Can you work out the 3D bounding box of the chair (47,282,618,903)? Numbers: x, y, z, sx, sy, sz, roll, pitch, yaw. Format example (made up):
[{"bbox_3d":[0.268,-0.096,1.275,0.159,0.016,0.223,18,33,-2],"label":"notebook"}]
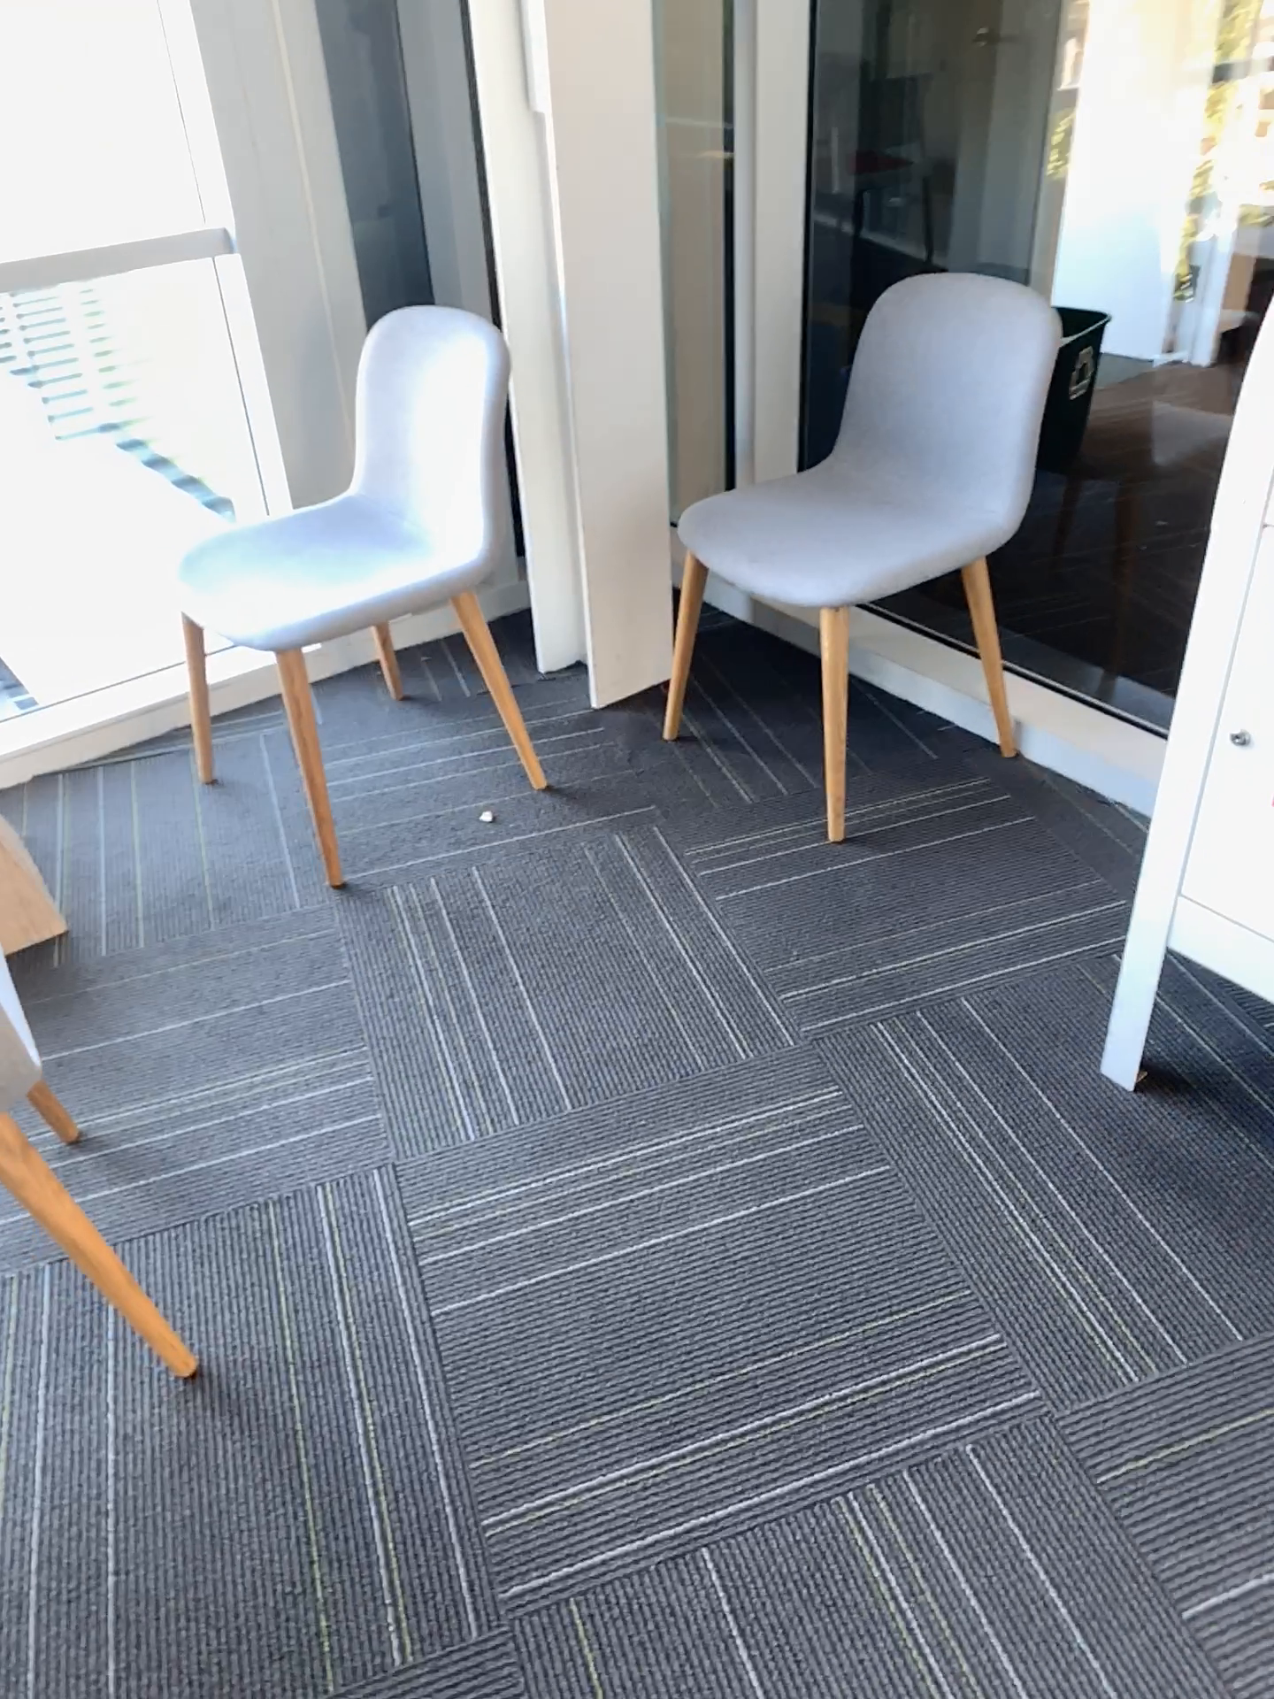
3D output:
[{"bbox_3d":[-0.486,-0.475,2.214,0.601,0.745,0.643,-28,42,-31],"label":"chair"}]

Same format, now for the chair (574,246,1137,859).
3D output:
[{"bbox_3d":[0.350,-0.553,2.262,0.601,0.765,0.643,-28,42,-31],"label":"chair"}]

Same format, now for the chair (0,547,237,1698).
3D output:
[{"bbox_3d":[-0.855,0.234,1.243,0.560,0.765,0.603,-26,41,-29],"label":"chair"}]
